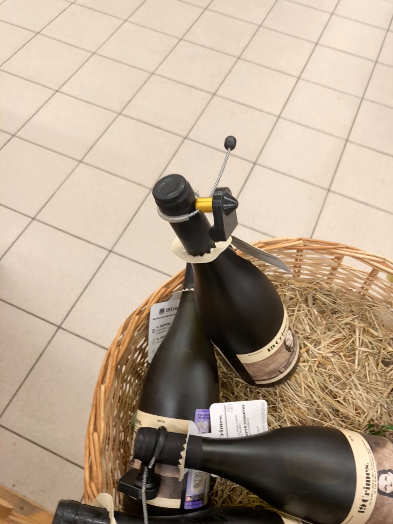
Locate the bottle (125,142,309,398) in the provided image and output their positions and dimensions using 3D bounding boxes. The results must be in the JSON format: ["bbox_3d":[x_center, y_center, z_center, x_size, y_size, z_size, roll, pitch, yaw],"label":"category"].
[{"bbox_3d":[0.044,0.030,0.417,0.080,0.289,0.090,5,57,25],"label":"bottle"}]
